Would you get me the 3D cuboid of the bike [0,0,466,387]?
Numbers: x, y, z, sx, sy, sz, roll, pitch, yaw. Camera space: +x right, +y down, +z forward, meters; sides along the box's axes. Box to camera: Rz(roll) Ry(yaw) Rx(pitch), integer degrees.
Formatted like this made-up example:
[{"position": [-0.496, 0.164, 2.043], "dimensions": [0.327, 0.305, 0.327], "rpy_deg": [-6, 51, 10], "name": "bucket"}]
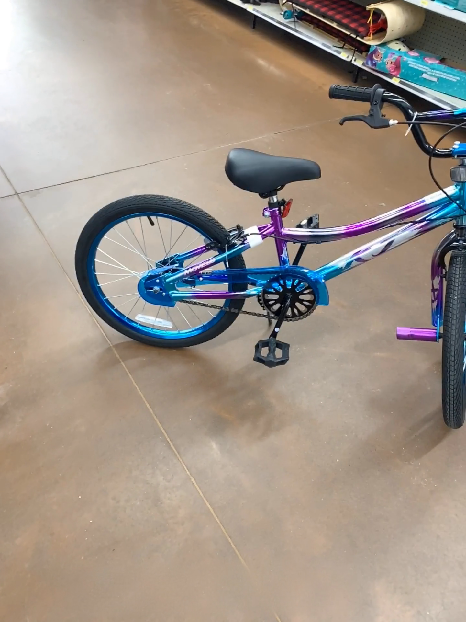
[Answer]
[{"position": [0.172, -0.315, 1.266], "dimensions": [1.119, 0.876, 0.623], "rpy_deg": [3, 45, -5], "name": "bike"}]
